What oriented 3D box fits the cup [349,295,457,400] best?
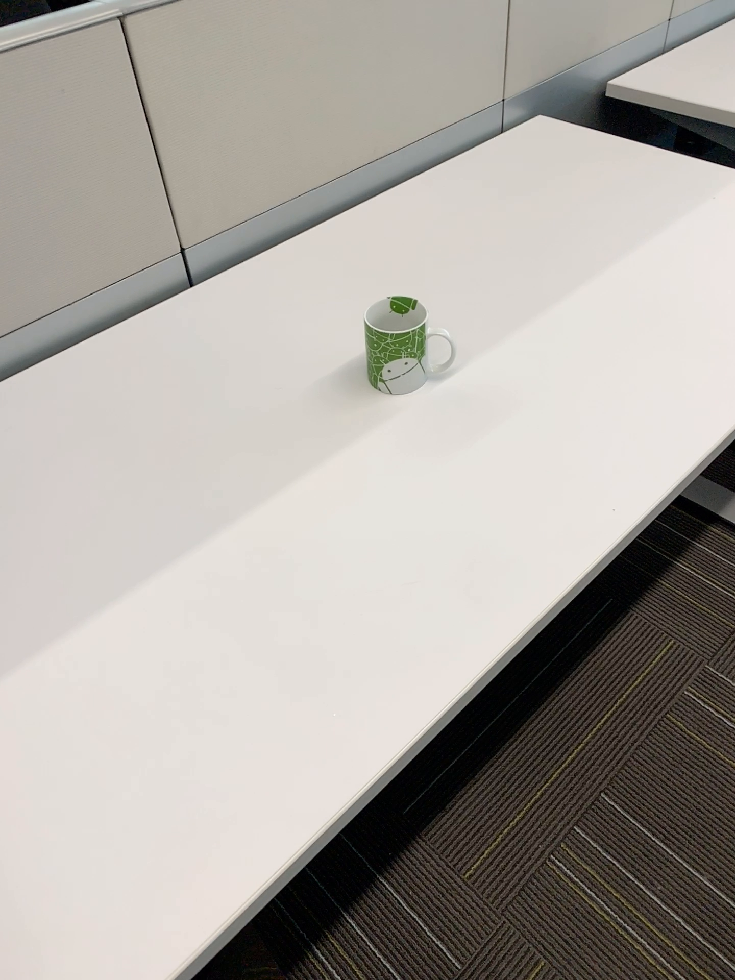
[{"bbox_3d":[0.045,-0.186,0.976,0.130,0.090,0.090,-5,46,1],"label":"cup"}]
